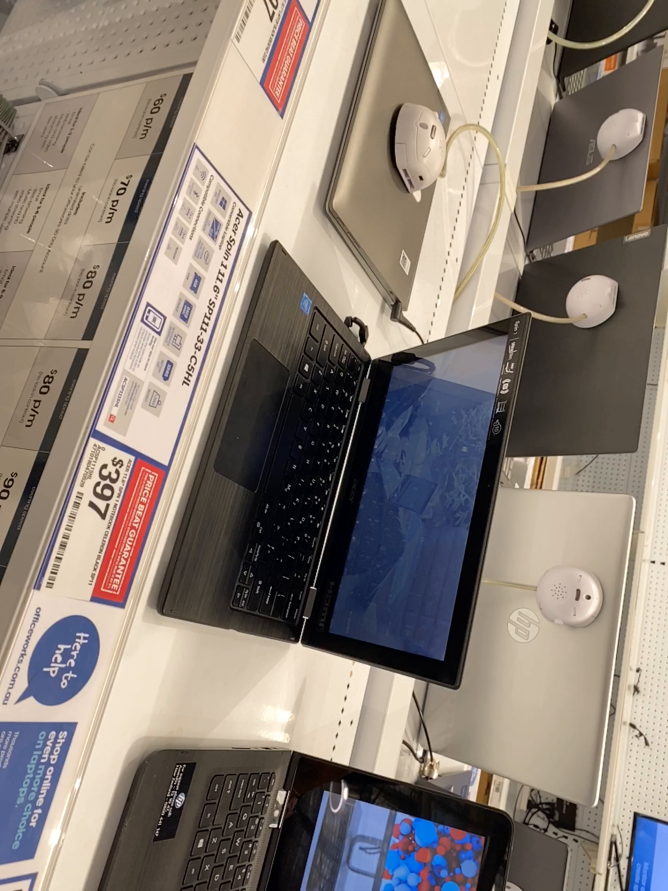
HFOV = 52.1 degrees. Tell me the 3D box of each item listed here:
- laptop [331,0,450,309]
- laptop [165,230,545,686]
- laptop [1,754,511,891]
[{"bbox_3d":[0.071,-0.313,0.731,0.196,0.001,0.284,38,60,-57],"label":"laptop"},{"bbox_3d":[0.039,0.017,0.546,0.198,0.174,0.290,40,61,-57],"label":"laptop"},{"bbox_3d":[-0.017,0.432,0.517,0.298,0.190,0.323,38,62,-57],"label":"laptop"}]
